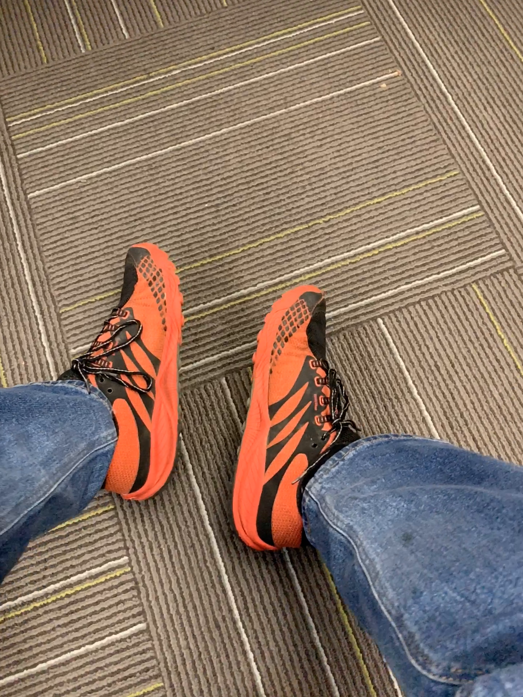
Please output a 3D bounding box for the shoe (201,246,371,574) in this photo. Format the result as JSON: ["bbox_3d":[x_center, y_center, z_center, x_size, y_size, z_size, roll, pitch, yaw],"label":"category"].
[{"bbox_3d":[0.041,0.064,0.588,0.108,0.138,0.318,2,72,21],"label":"shoe"}]

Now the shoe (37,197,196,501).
[{"bbox_3d":[-0.159,0.010,0.605,0.108,0.128,0.308,14,67,-37],"label":"shoe"}]
